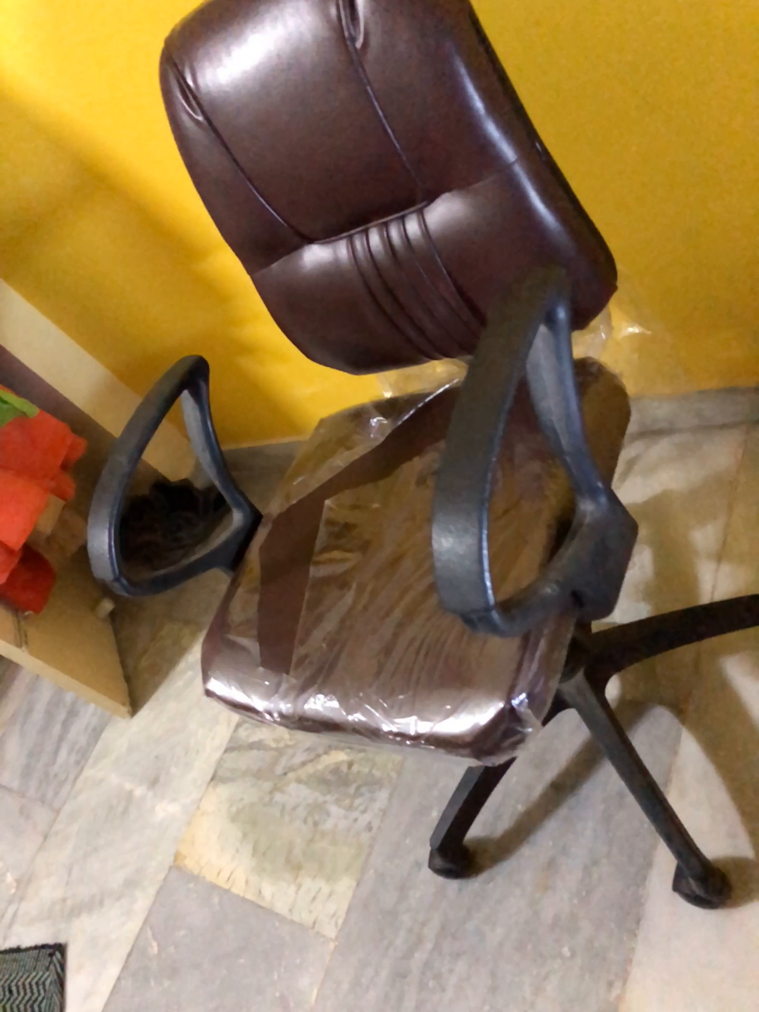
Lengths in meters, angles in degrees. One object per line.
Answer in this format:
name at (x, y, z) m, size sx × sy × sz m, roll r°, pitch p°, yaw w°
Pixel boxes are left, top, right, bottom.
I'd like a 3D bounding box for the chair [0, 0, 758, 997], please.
chair at (0.023, -0.024, 0.949) m, size 0.690 × 0.975 × 0.683 m, roll -7°, pitch 51°, yaw 41°
